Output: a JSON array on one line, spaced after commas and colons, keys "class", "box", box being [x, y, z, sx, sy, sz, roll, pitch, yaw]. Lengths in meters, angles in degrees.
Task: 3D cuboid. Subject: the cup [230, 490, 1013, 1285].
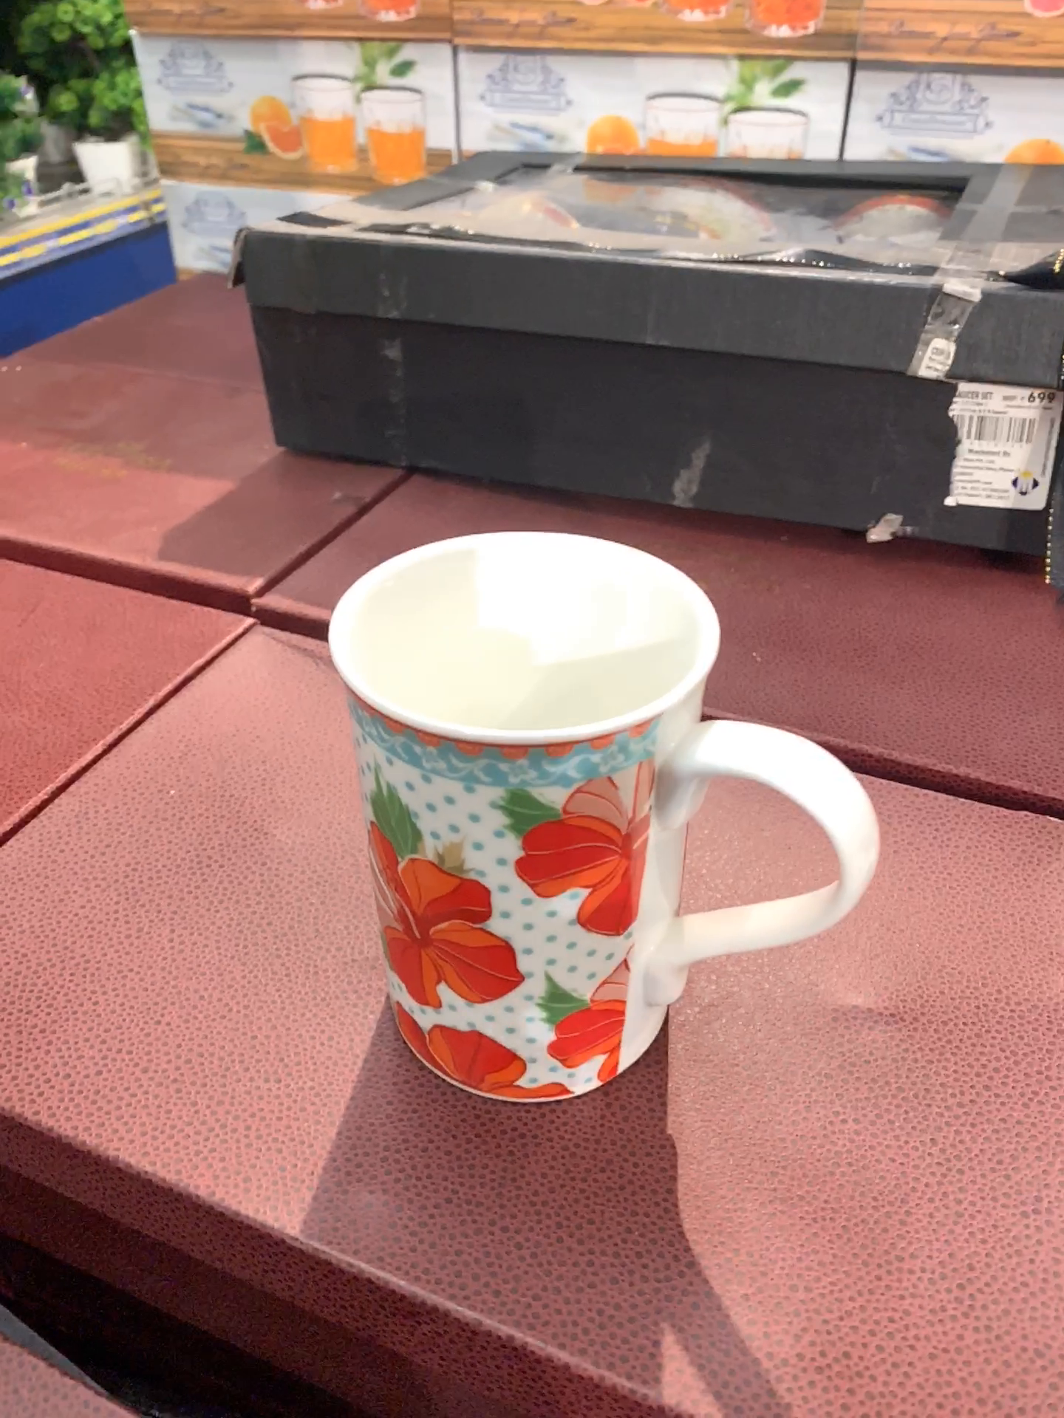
[{"class": "cup", "box": [0.020, 0.031, 0.231, 0.120, 0.110, 0.080, 15, 39, 20]}]
